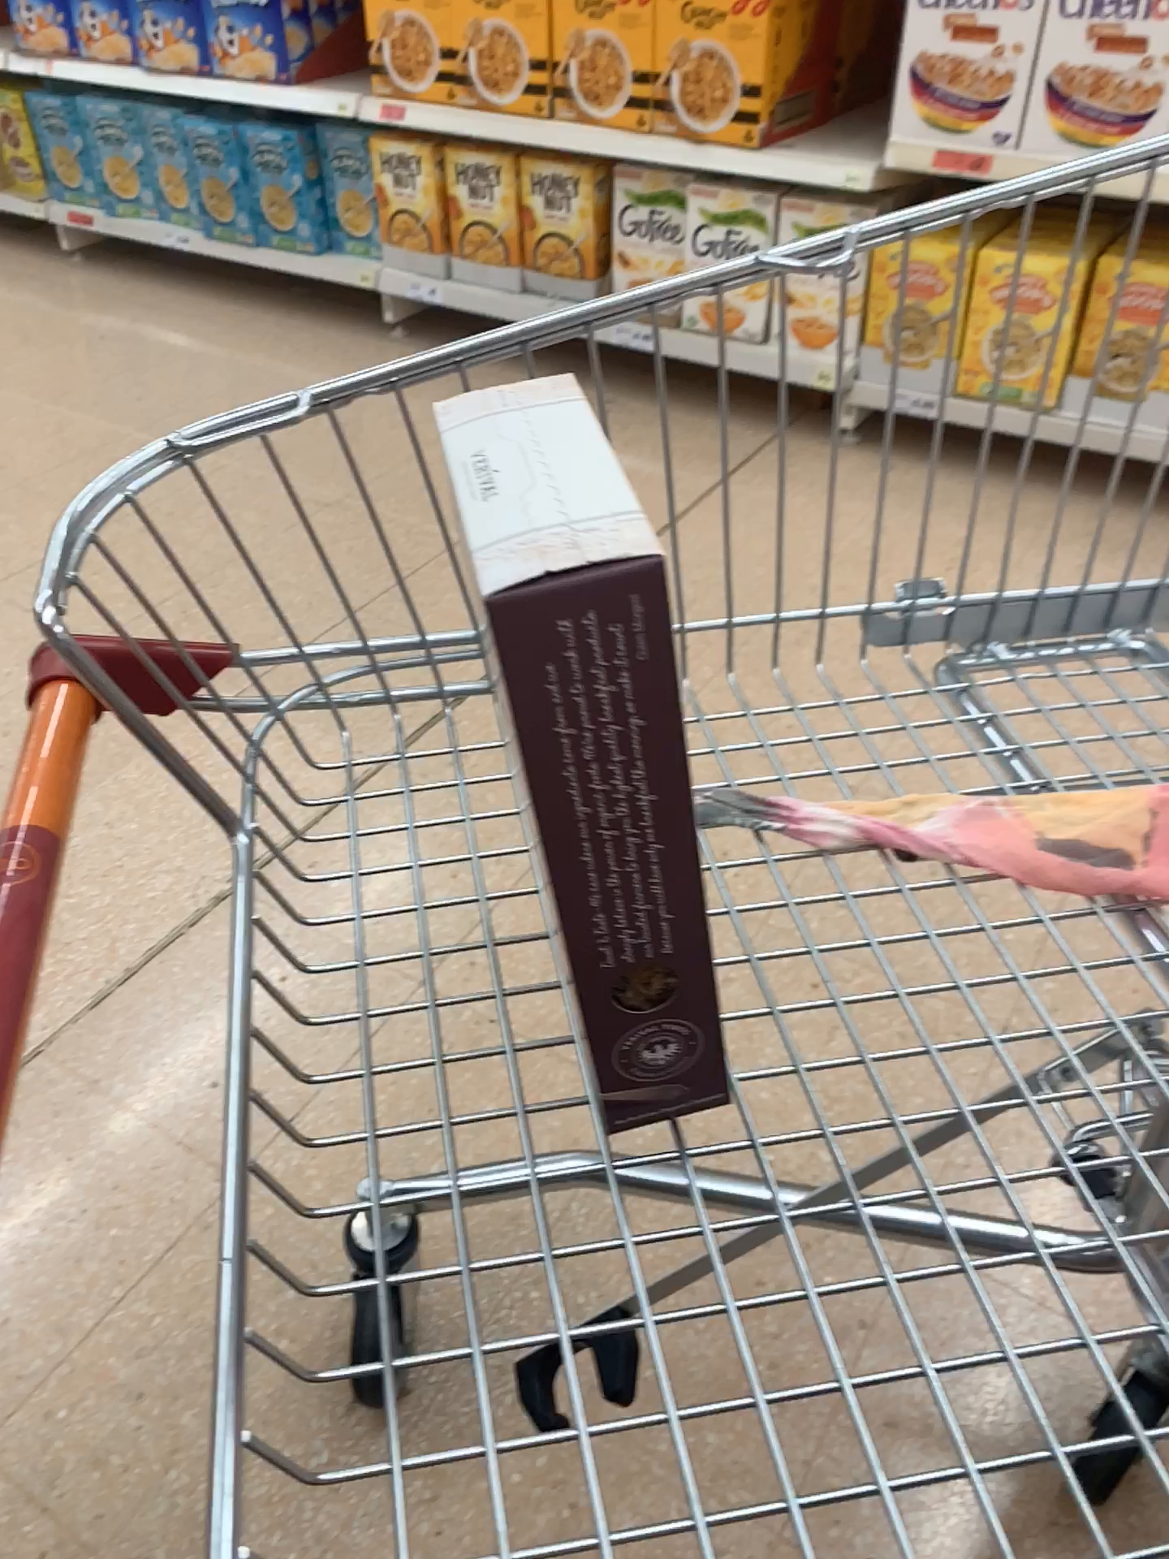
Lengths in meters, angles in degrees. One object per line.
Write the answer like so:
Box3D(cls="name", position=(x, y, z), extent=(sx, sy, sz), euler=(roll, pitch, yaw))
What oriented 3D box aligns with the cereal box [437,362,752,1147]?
Box3D(cls="cereal box", position=(0.005, -0.004, 0.403), extent=(0.050, 0.218, 0.141), euler=(-13, 40, -3))
